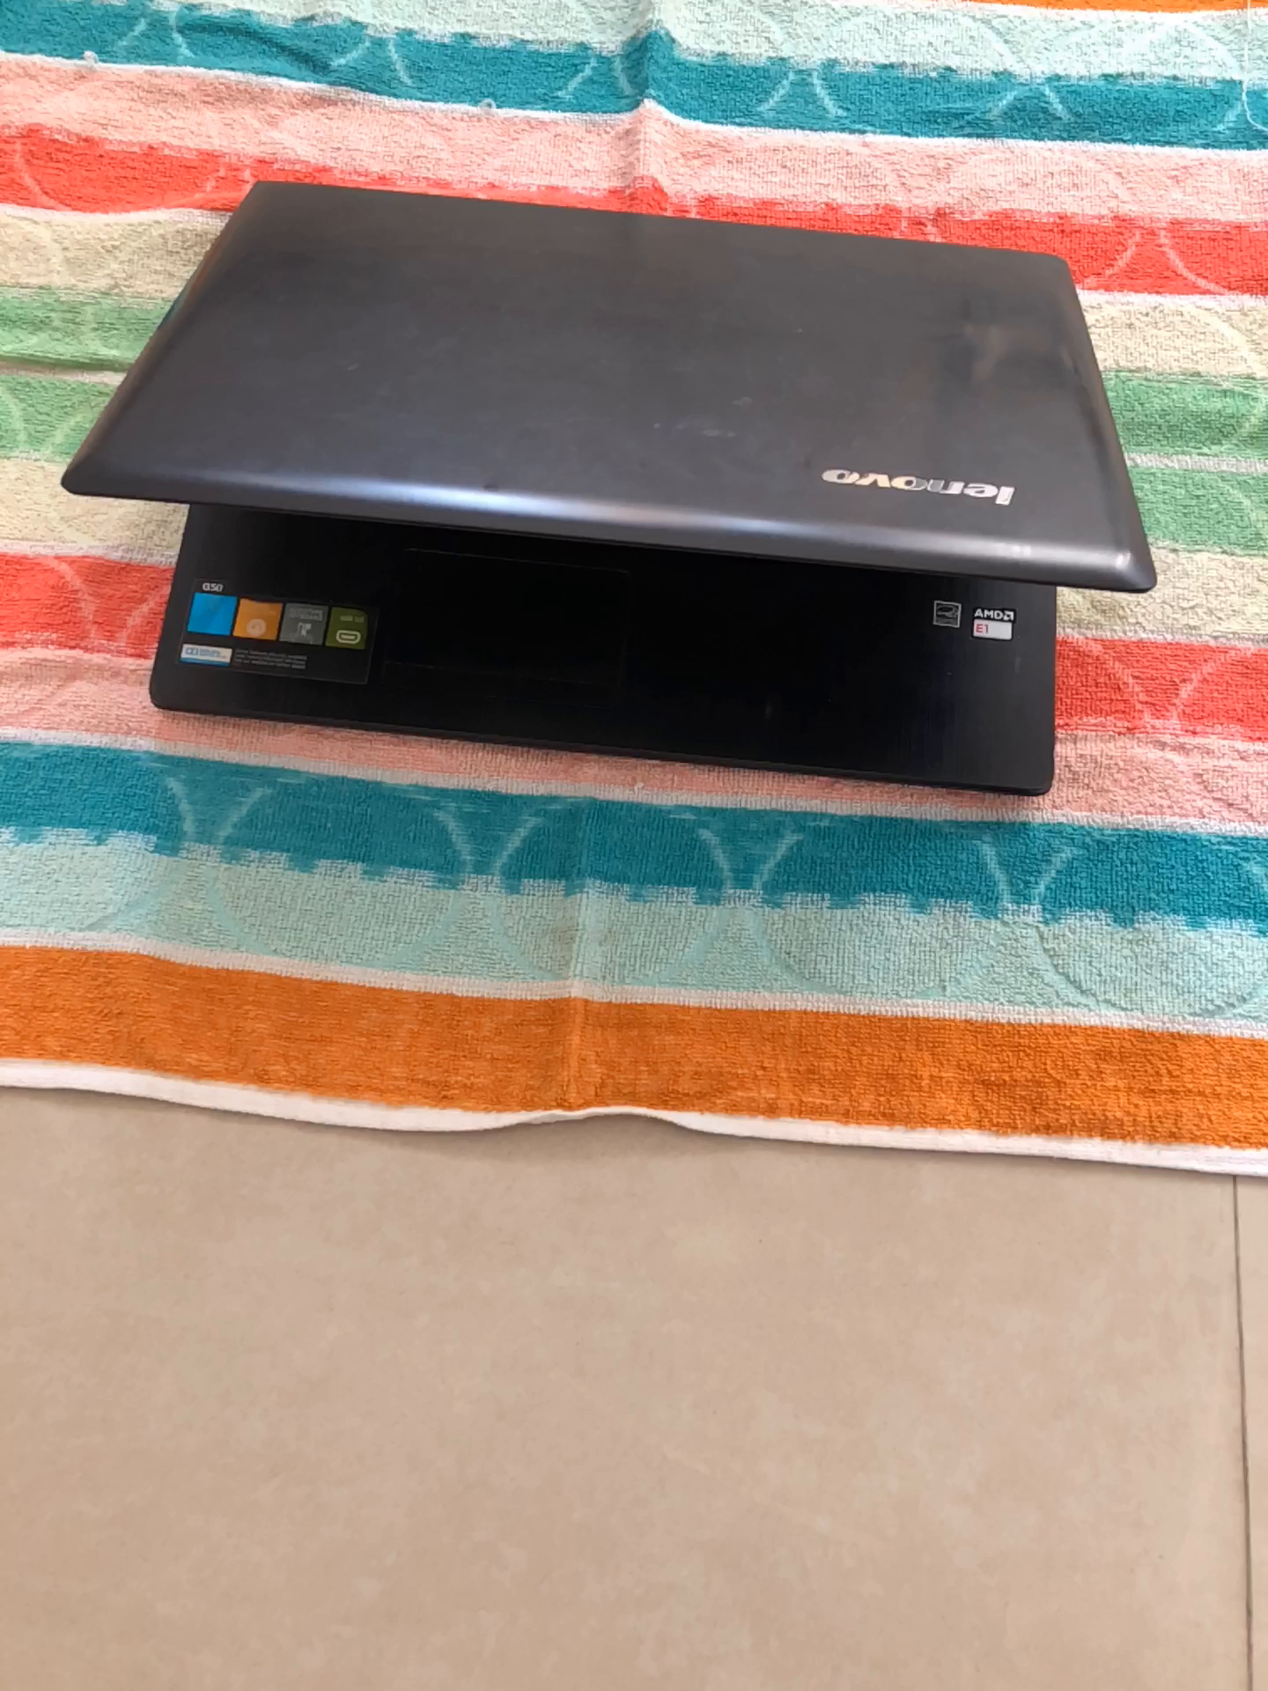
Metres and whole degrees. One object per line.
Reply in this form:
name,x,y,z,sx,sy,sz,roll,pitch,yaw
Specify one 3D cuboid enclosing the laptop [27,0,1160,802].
laptop,-0.002,-0.174,0.550,0.363,0.126,0.253,6,69,0
